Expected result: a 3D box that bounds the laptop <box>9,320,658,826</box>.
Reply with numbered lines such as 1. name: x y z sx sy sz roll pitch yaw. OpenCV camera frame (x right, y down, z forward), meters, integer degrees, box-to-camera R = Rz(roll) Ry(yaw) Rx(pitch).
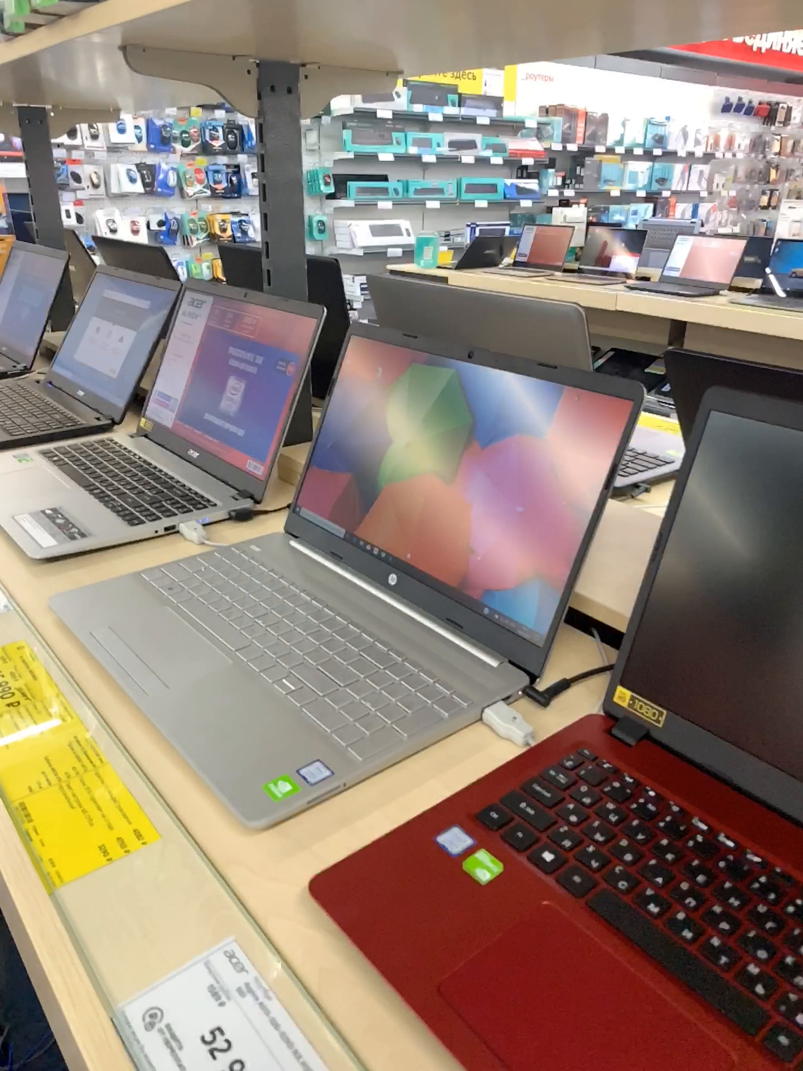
1. laptop: -0.064 -0.028 0.659 0.347 0.209 0.361 -17 29 -36
